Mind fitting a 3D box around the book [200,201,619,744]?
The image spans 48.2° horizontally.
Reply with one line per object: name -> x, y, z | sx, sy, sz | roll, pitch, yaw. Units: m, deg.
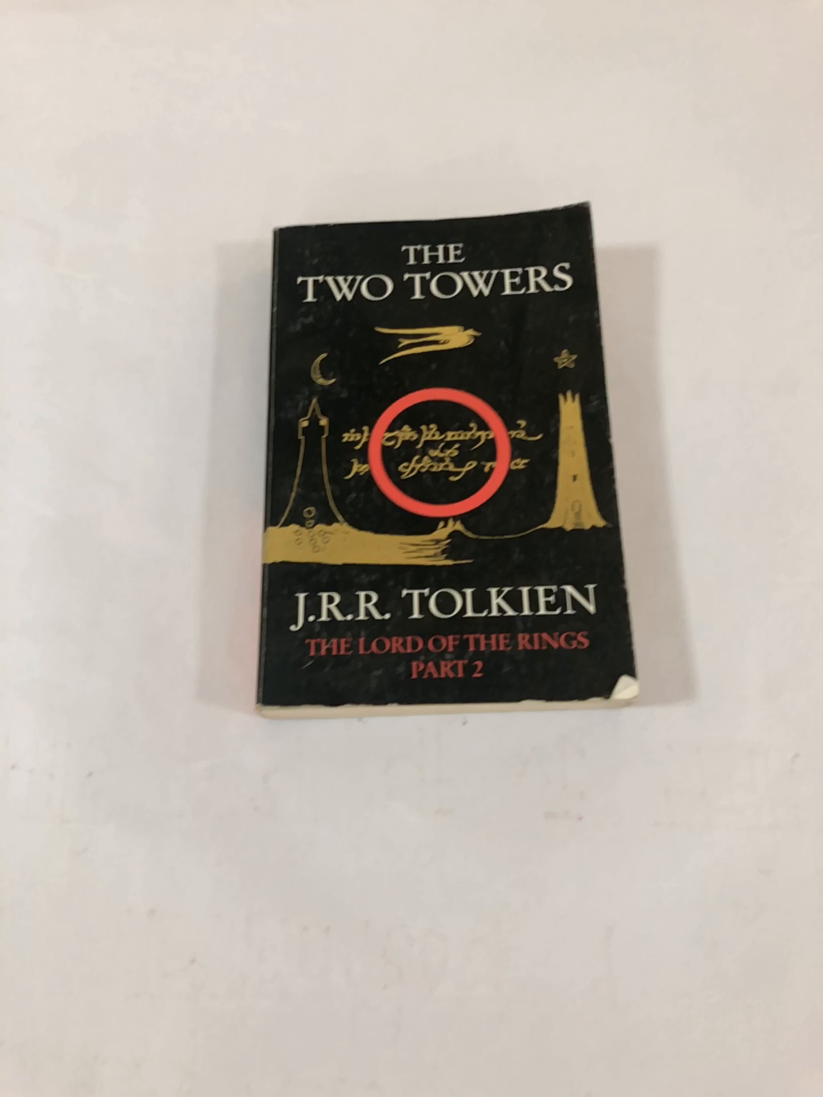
book -> -0.003, -0.034, 0.335 | 0.130, 0.030, 0.200 | -2, 69, -1
